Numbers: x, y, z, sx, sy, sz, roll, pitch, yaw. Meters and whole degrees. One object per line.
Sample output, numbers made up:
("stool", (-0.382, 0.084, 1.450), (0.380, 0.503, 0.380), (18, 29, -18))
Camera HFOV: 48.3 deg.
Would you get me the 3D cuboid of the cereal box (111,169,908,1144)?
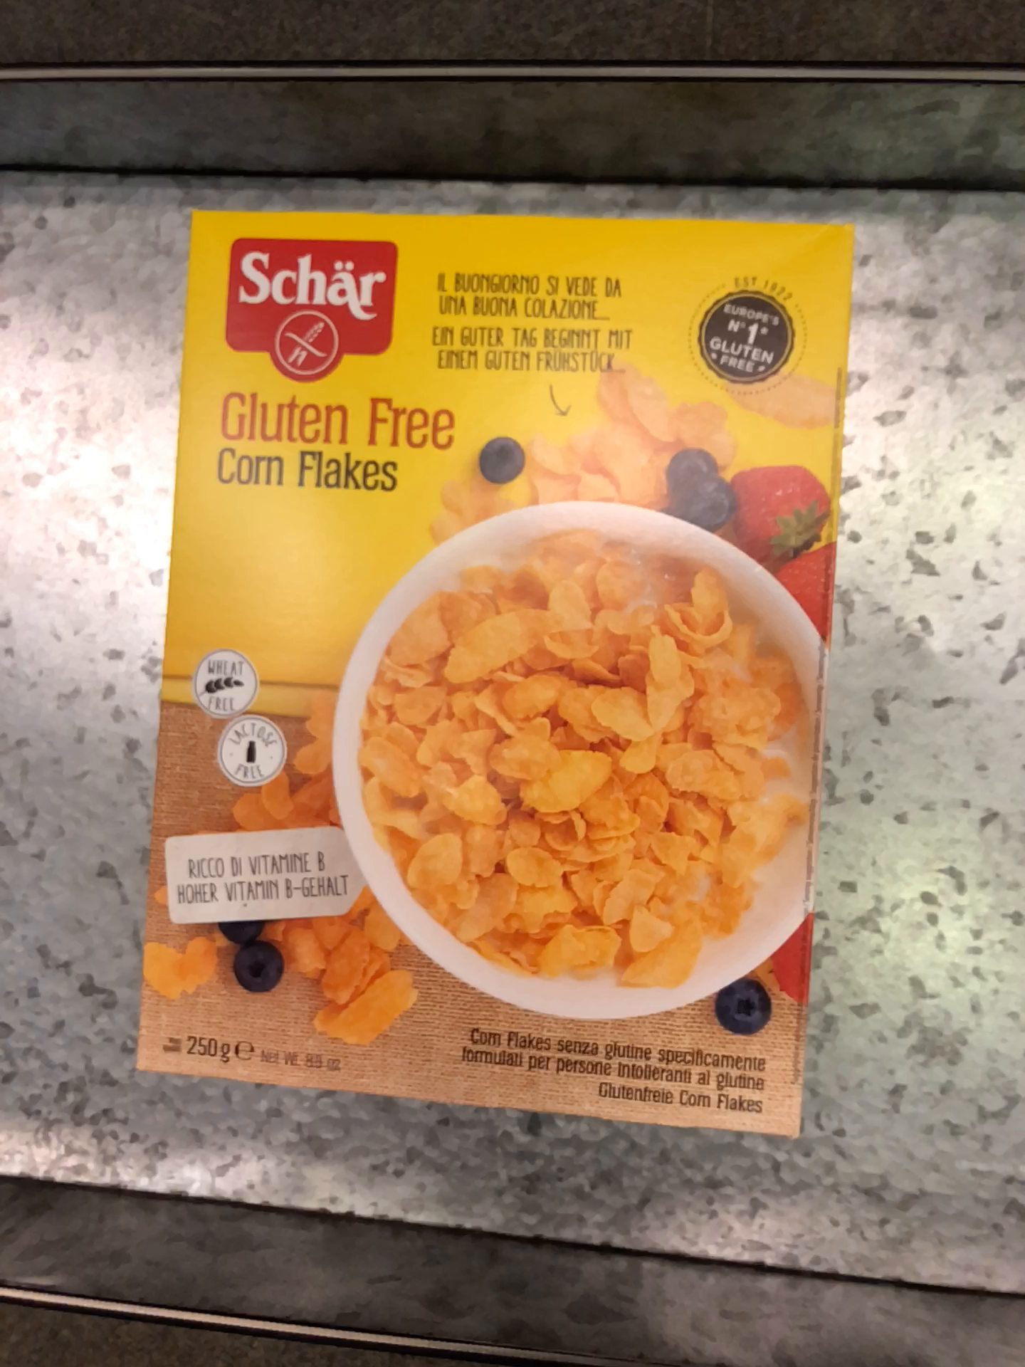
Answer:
("cereal box", (-0.001, -0.012, 0.341), (0.200, 0.070, 0.250), (3, 90, 6))
